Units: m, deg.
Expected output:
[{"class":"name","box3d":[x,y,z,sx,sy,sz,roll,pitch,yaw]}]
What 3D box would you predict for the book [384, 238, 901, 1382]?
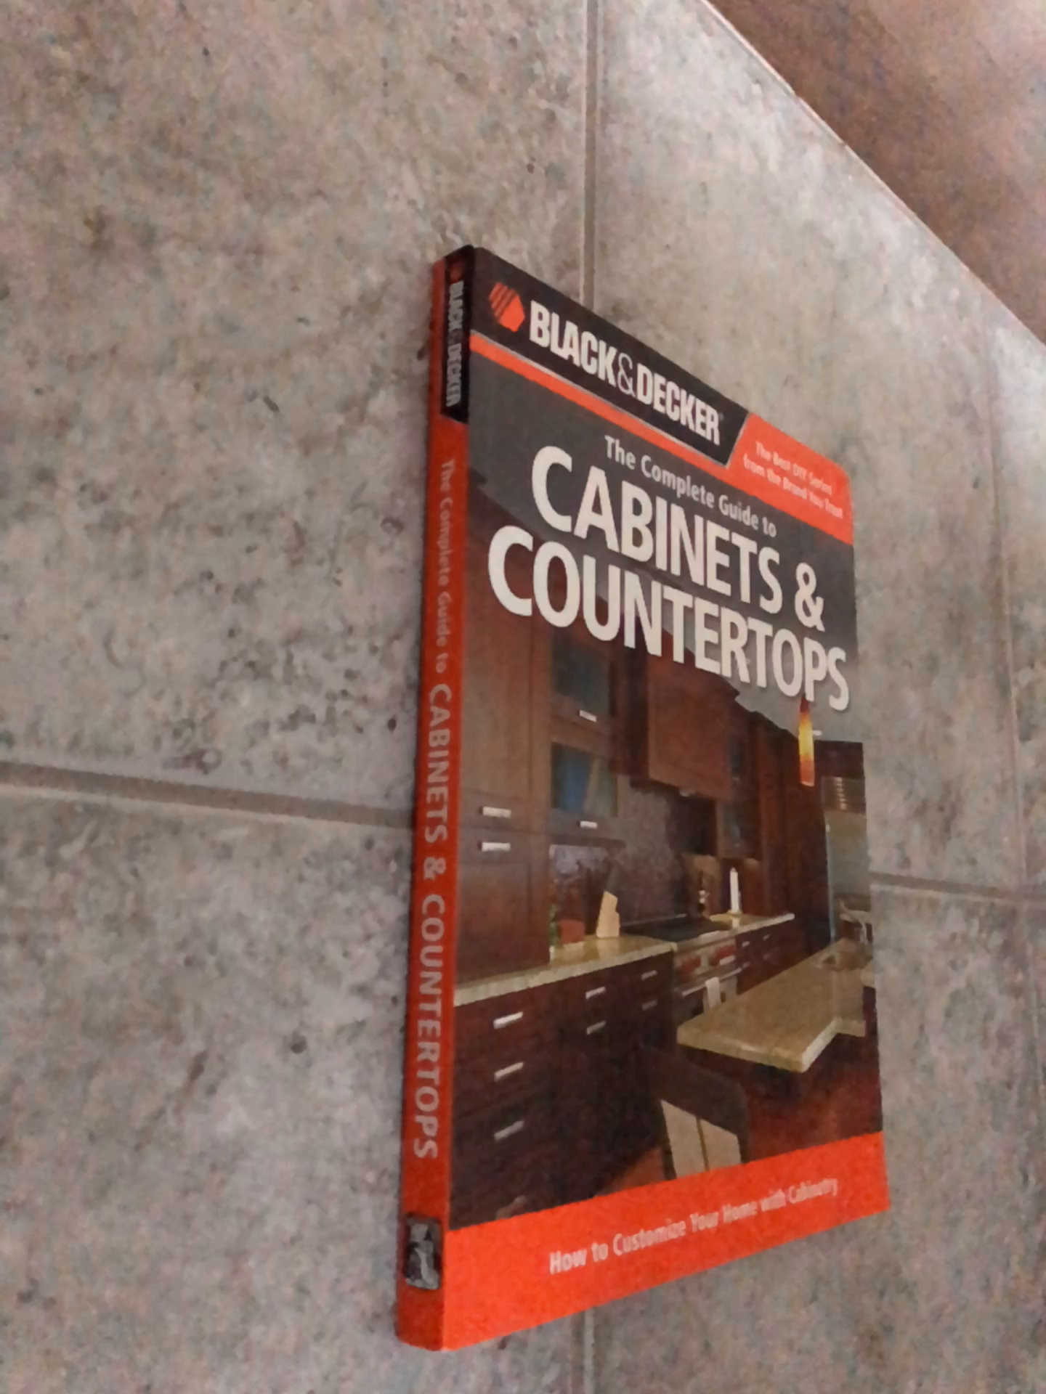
[{"class":"book","box3d":[0.052,0.032,0.368,0.217,0.022,0.281,13,72,-45]}]
